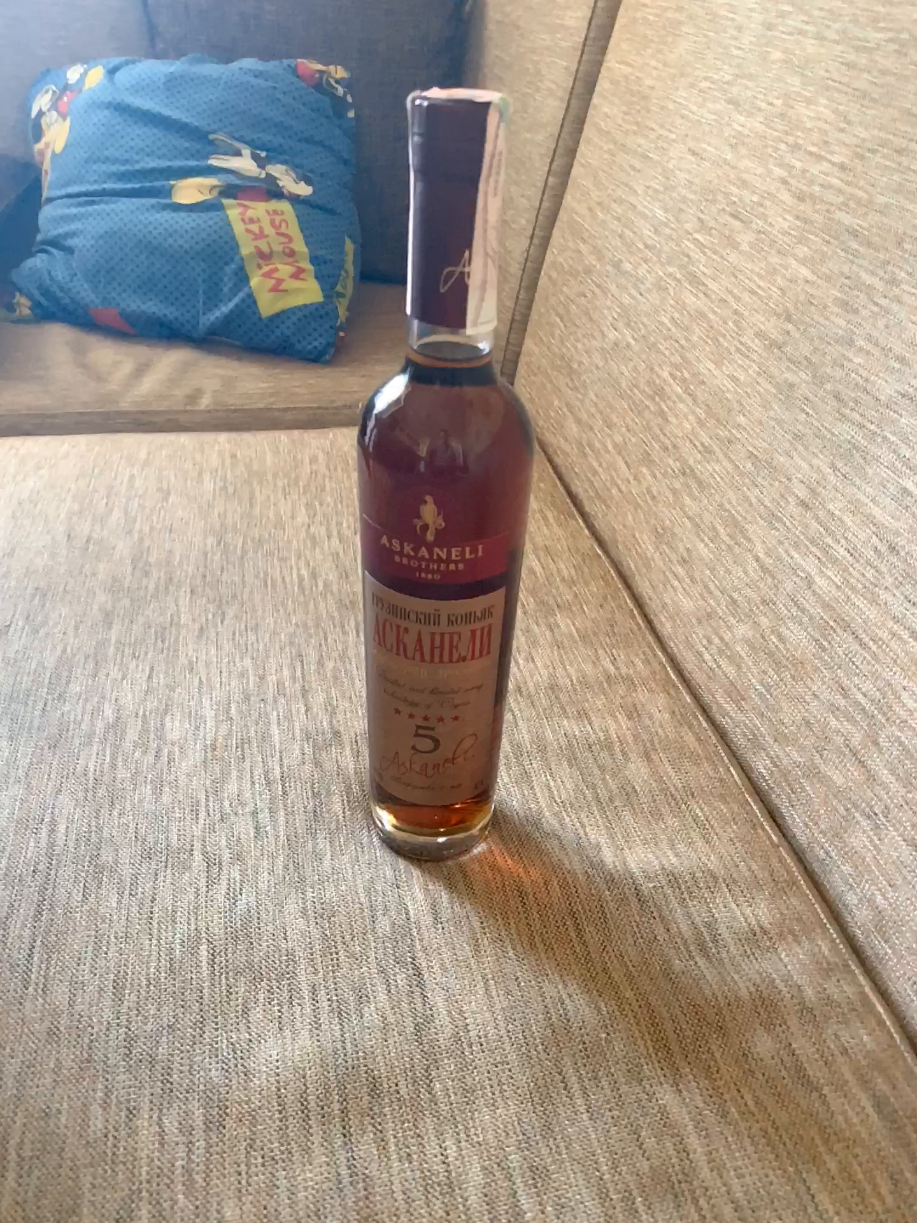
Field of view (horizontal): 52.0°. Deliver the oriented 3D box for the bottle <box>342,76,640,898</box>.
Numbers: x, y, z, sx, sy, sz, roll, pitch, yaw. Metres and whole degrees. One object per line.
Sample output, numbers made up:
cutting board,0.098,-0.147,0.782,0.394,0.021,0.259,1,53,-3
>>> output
bottle,0.004,-0.024,0.334,0.070,0.279,0.070,3,34,-2
